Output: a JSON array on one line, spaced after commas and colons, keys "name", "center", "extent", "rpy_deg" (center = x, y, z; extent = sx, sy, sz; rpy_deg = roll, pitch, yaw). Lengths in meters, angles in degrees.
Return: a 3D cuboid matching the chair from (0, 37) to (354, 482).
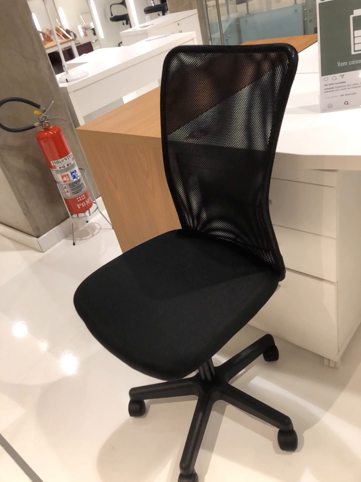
[{"name": "chair", "center": [-0.009, 0.094, 0.970], "extent": [0.571, 0.923, 0.563], "rpy_deg": [-34, 38, -26]}]
